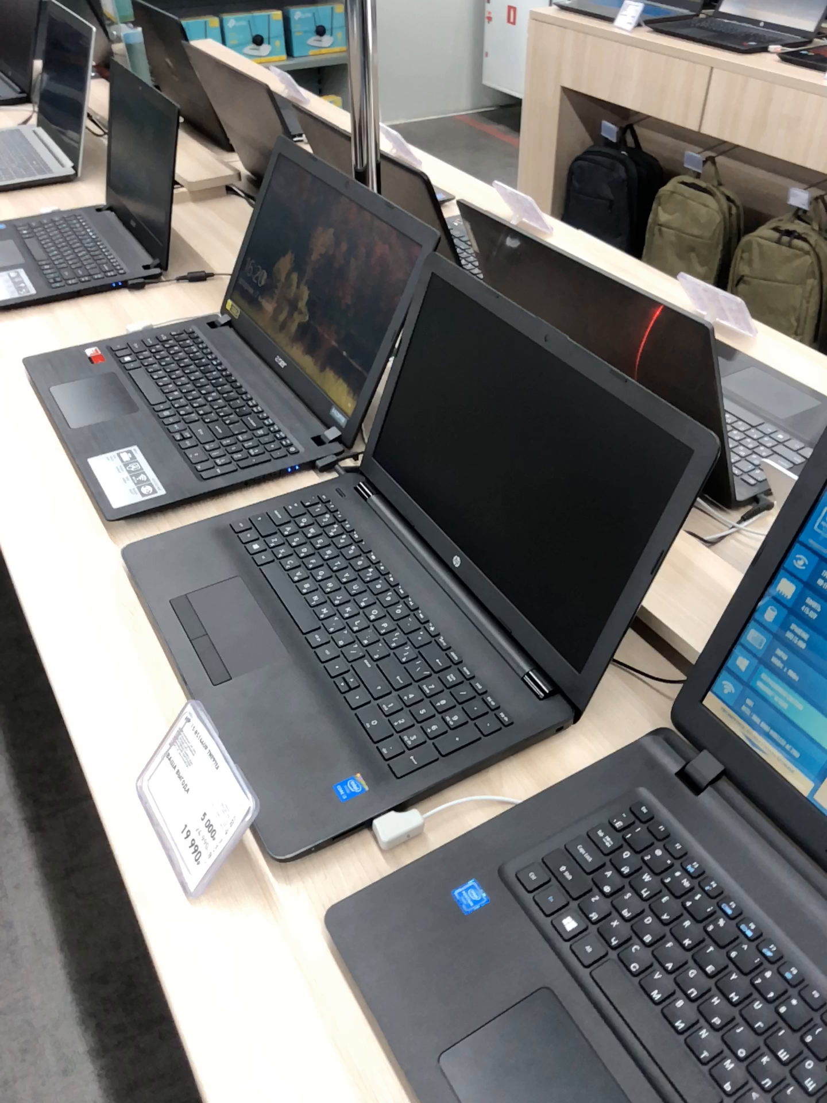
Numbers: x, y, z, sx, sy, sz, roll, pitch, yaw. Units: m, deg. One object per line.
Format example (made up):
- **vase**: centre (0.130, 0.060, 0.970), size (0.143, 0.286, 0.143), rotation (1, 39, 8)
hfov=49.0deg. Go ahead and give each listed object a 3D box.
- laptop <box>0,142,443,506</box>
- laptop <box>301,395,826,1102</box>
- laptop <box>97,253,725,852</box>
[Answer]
- **laptop**: centre (-0.225, -0.280, 1.032), size (0.350, 0.226, 0.360), rotation (-20, 44, -23)
- **laptop**: centre (0.224, 0.168, 0.432), size (0.395, 0.267, 0.398), rotation (-18, 41, -22)
- **laptop**: centre (-0.024, -0.042, 0.743), size (0.334, 0.215, 0.378), rotation (-21, 43, -22)
